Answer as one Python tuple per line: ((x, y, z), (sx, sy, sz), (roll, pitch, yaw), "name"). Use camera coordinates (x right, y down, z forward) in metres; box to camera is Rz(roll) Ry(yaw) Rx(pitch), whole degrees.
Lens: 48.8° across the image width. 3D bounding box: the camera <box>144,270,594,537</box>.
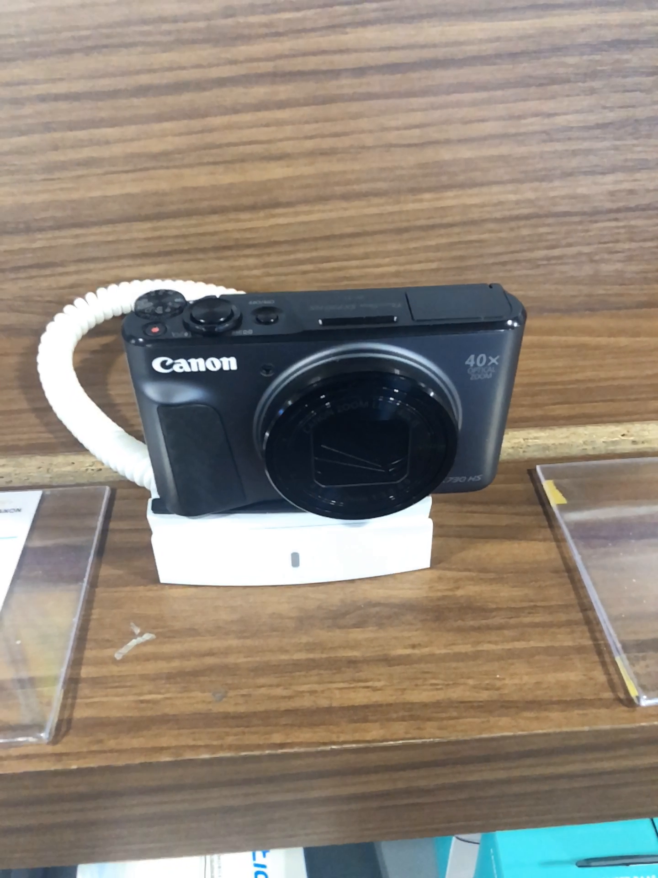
((0.009, -0.009, 0.210), (0.109, 0.063, 0.037), (-3, 41, -2), "camera")
